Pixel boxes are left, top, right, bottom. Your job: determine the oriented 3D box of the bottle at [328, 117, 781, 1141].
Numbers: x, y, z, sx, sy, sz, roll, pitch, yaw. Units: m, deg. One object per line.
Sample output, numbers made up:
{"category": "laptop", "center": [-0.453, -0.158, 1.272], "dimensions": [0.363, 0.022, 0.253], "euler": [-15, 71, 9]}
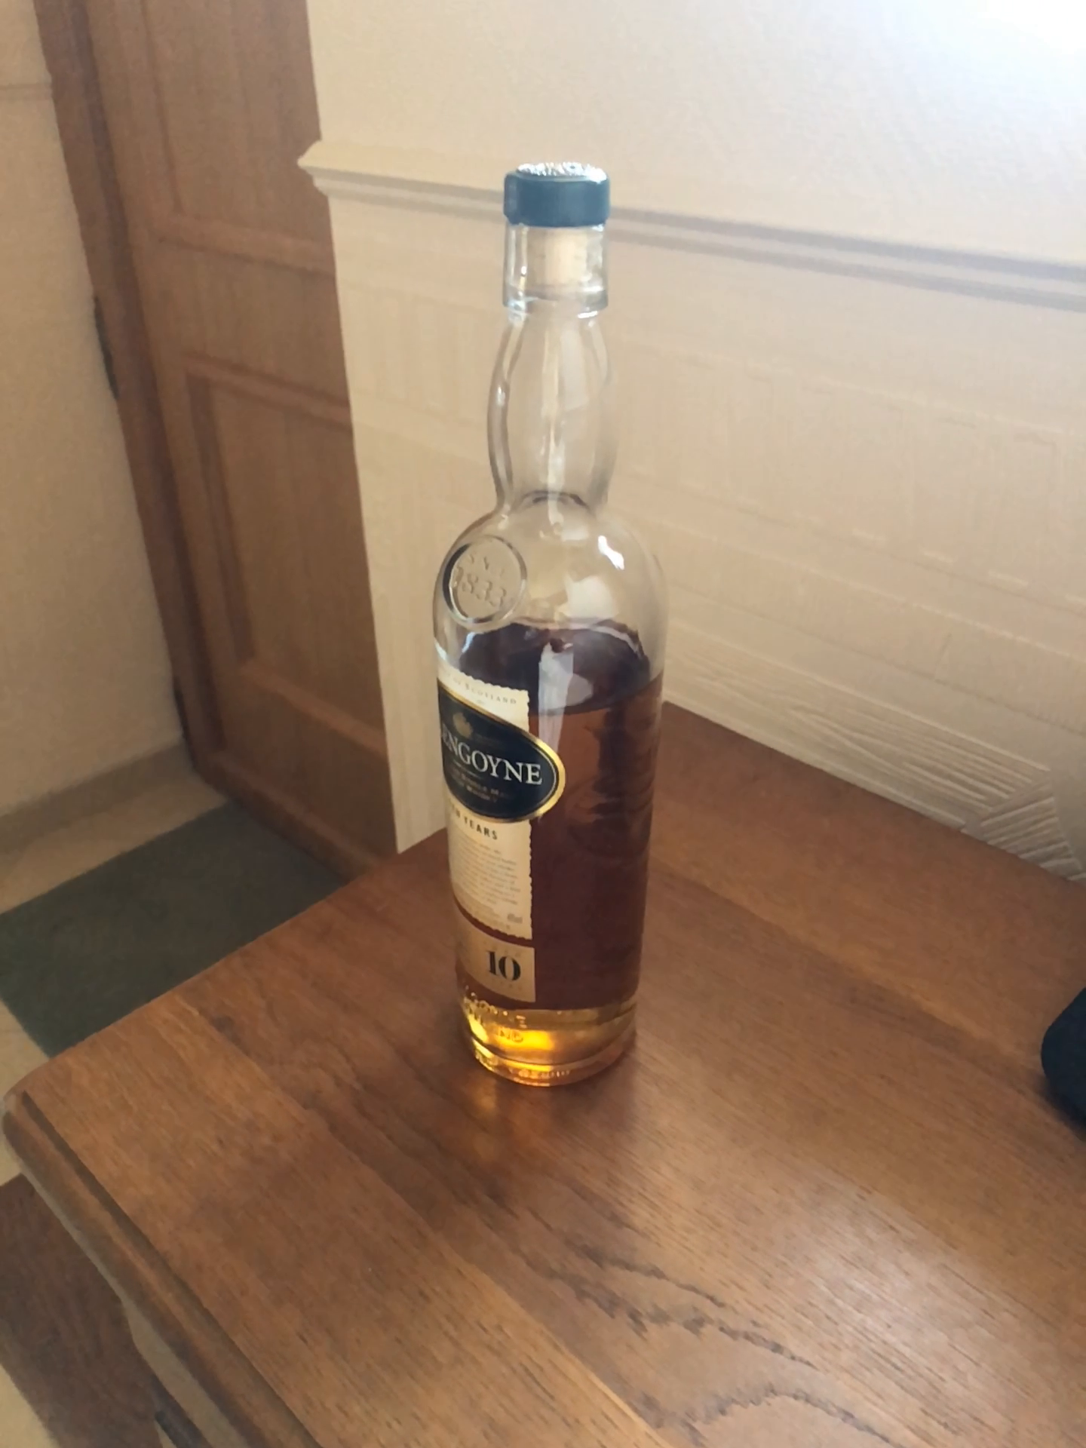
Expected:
{"category": "bottle", "center": [0.005, -0.019, 0.398], "dimensions": [0.080, 0.318, 0.090], "euler": [-25, 38, -34]}
